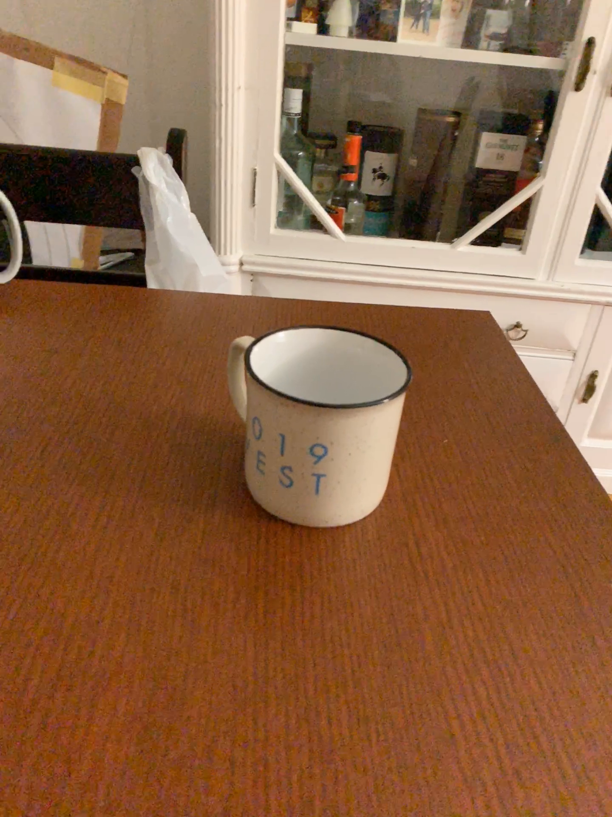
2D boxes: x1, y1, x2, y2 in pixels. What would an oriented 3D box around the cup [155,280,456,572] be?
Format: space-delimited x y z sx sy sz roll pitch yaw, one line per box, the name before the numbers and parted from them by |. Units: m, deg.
cup | -0.007 0.000 0.393 0.151 0.099 0.100 30 40 35
